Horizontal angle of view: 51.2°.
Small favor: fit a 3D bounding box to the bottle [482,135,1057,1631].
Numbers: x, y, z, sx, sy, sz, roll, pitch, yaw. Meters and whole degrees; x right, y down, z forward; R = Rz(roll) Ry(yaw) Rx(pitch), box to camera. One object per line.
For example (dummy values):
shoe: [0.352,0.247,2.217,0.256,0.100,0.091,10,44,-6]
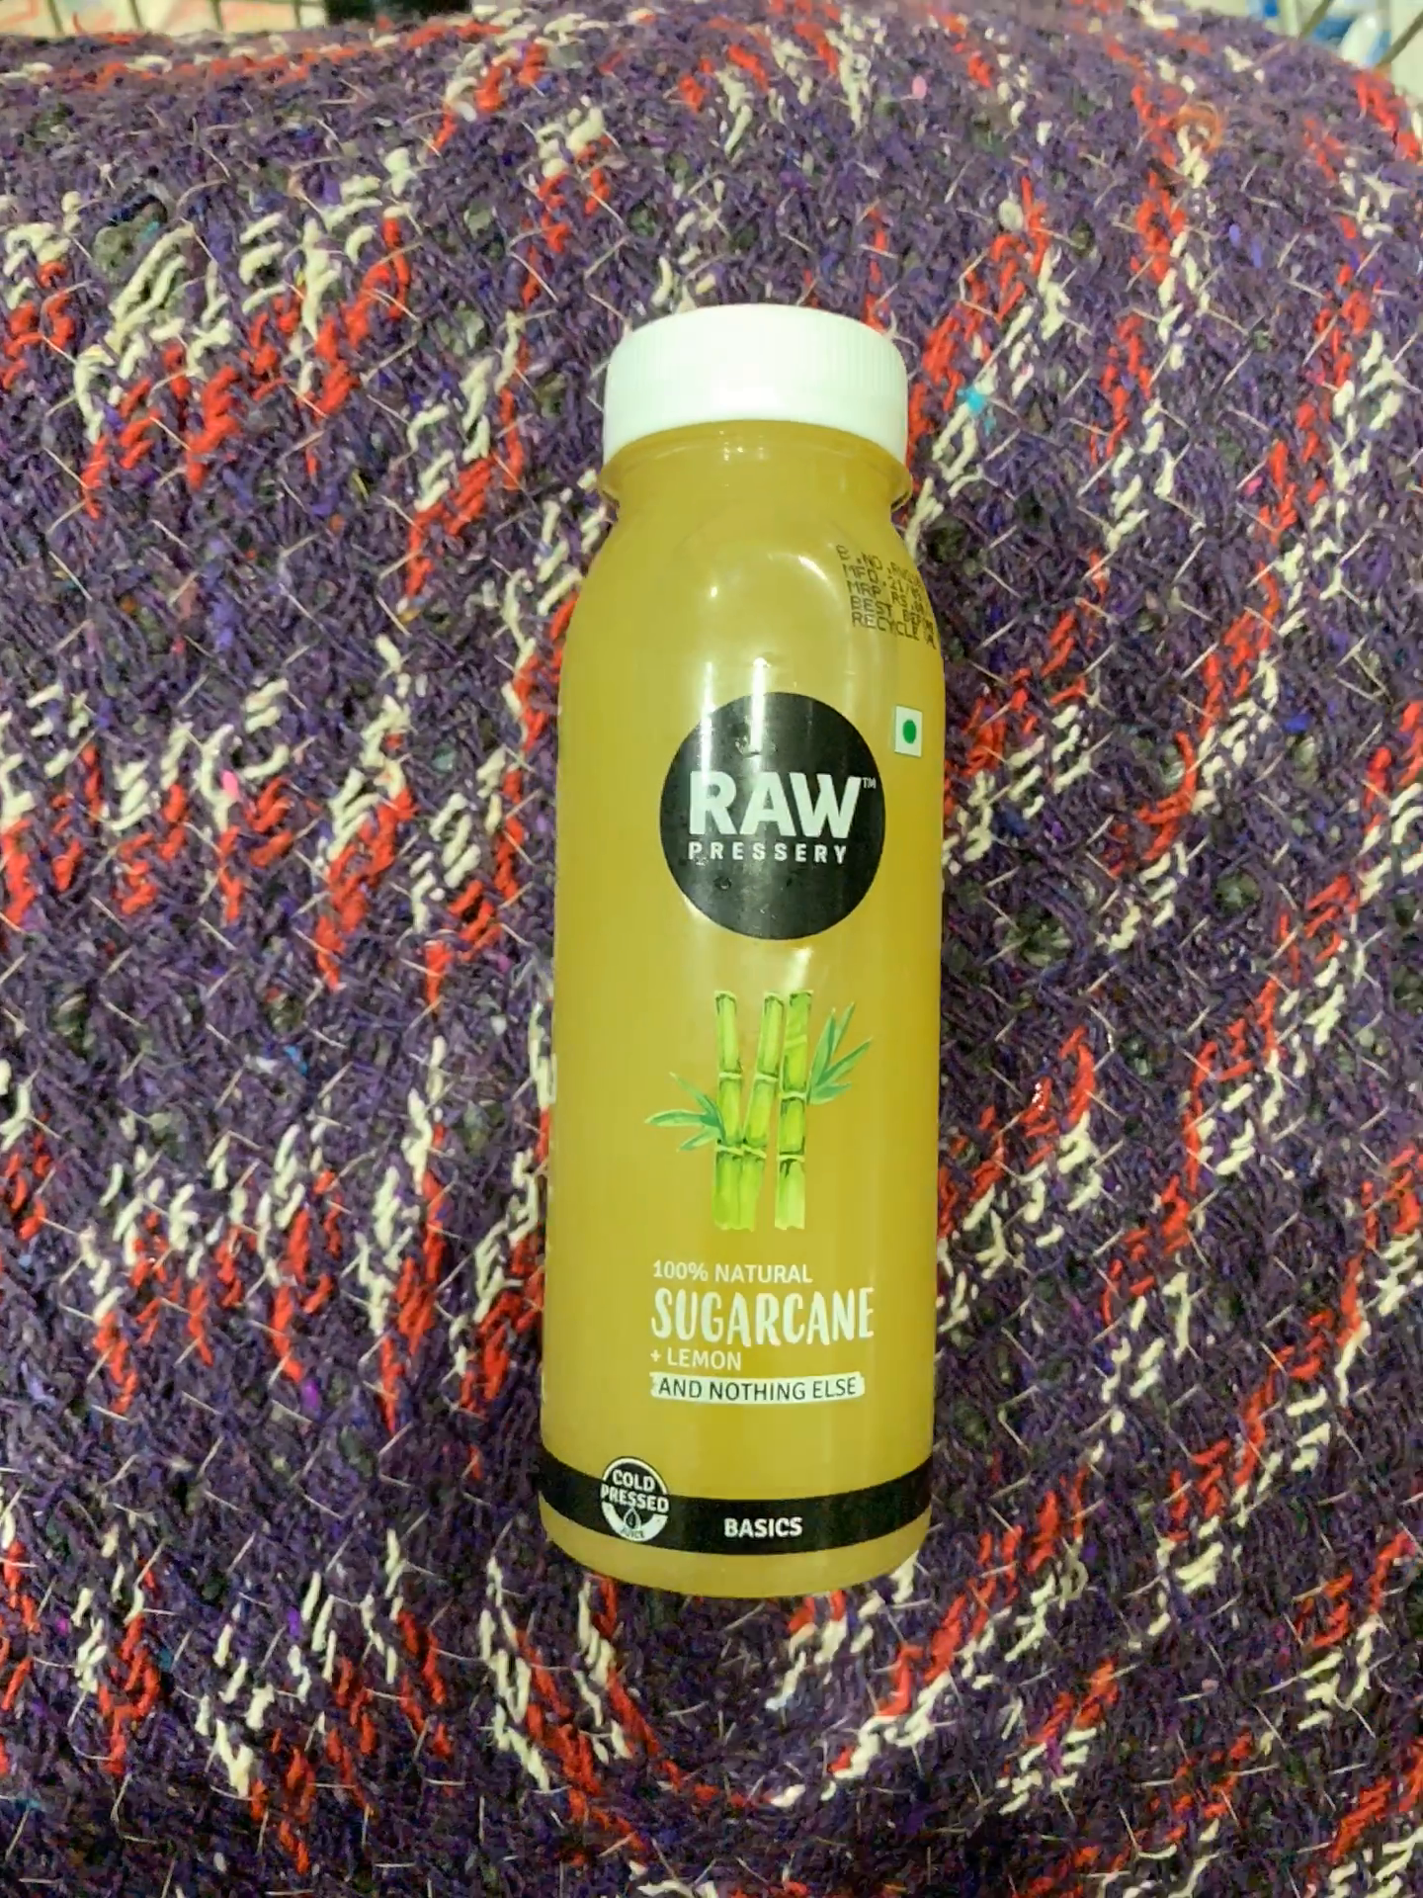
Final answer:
bottle: [0.005,-0.007,0.187,0.060,0.050,0.160,1,90,-5]
